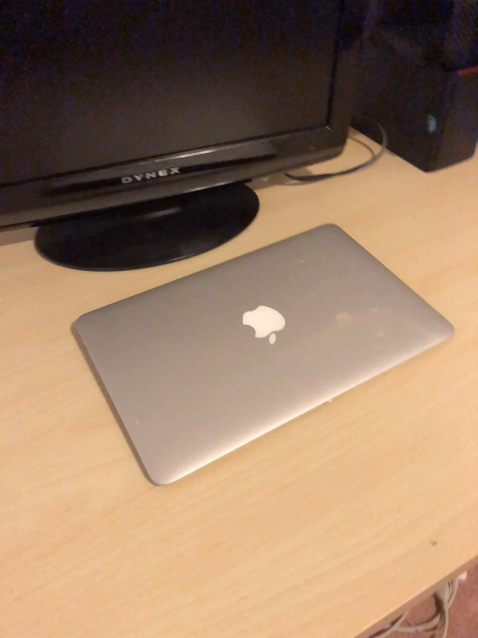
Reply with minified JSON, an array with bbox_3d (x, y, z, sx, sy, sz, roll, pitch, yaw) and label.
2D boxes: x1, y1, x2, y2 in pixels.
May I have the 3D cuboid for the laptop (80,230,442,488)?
[{"bbox_3d":[0.020,0.011,0.477,0.278,0.005,0.181,-22,51,-22],"label":"laptop"}]
